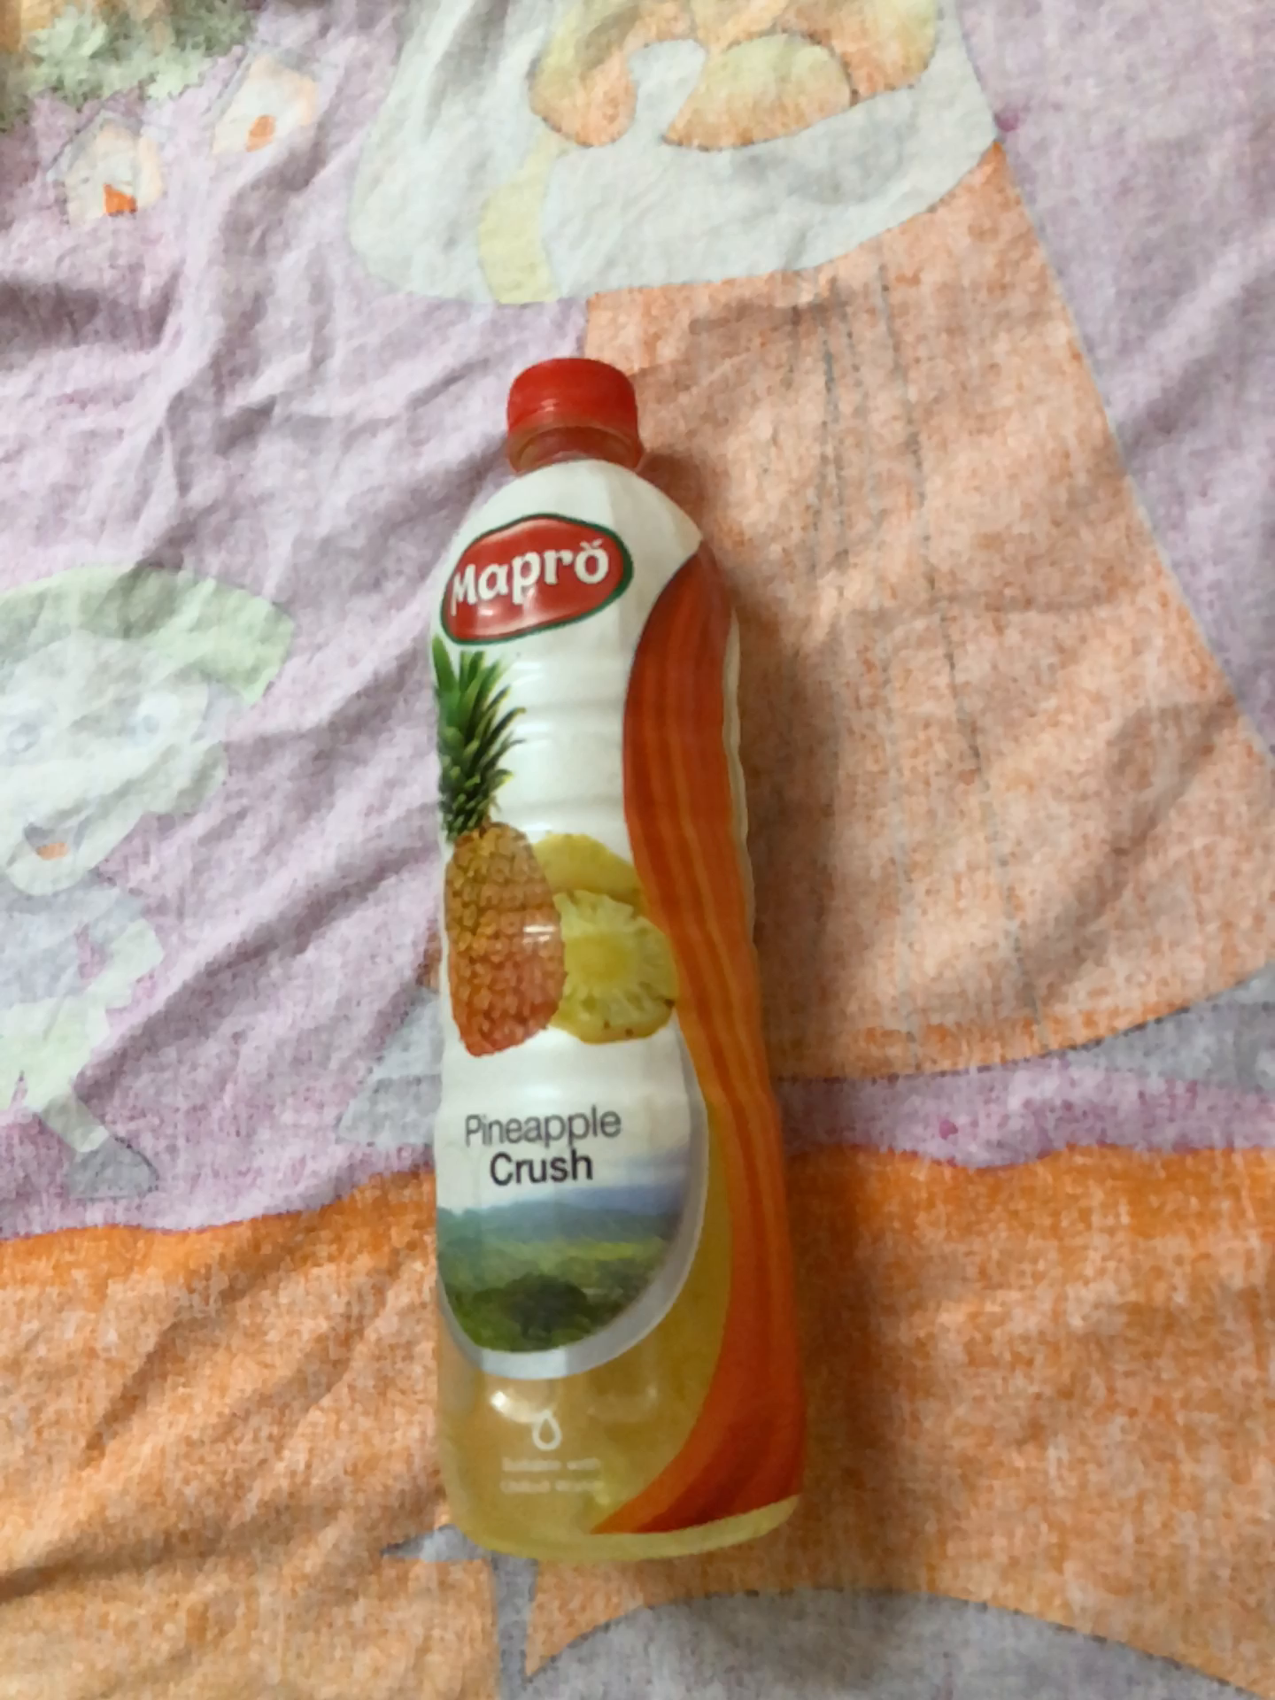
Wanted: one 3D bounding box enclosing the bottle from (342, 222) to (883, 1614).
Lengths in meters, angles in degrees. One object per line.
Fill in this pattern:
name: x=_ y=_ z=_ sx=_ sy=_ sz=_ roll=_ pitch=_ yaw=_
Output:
bottle: x=-0.007 y=0.010 z=0.290 sx=0.080 sy=0.060 sz=0.250 roll=-8 pitch=78 yaw=20
